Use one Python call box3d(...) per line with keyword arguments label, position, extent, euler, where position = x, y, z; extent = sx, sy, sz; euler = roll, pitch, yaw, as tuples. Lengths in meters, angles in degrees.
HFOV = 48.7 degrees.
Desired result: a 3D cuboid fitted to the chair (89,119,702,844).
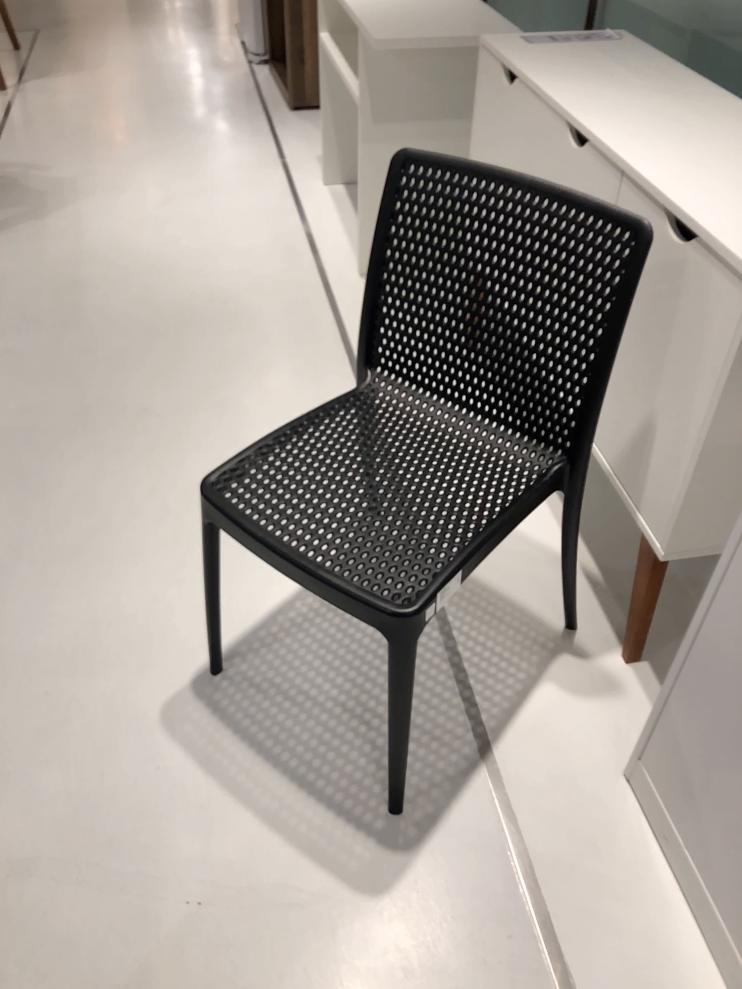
box3d(label="chair", position=(0.047, -0.027, 1.334), extent=(0.531, 0.864, 0.603), euler=(28, 48, 27))
